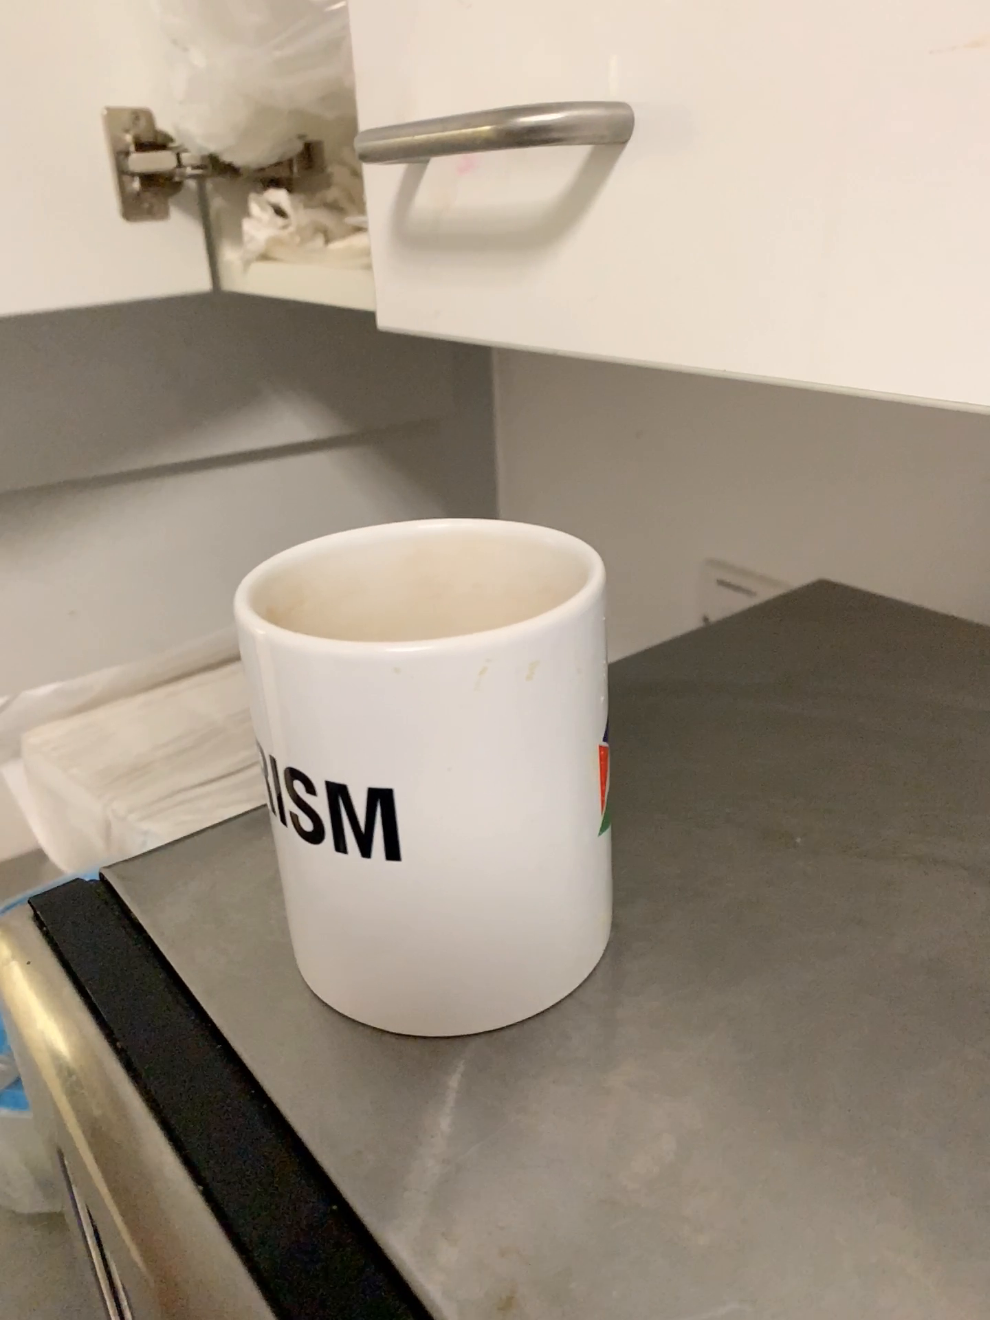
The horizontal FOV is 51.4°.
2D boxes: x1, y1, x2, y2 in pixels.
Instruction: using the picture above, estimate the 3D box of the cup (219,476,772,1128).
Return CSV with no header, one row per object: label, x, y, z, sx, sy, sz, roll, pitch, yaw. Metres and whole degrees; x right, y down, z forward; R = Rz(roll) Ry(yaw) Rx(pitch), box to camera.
cup,-0.007,0.021,0.255,0.094,0.099,0.114,-11,24,-17
